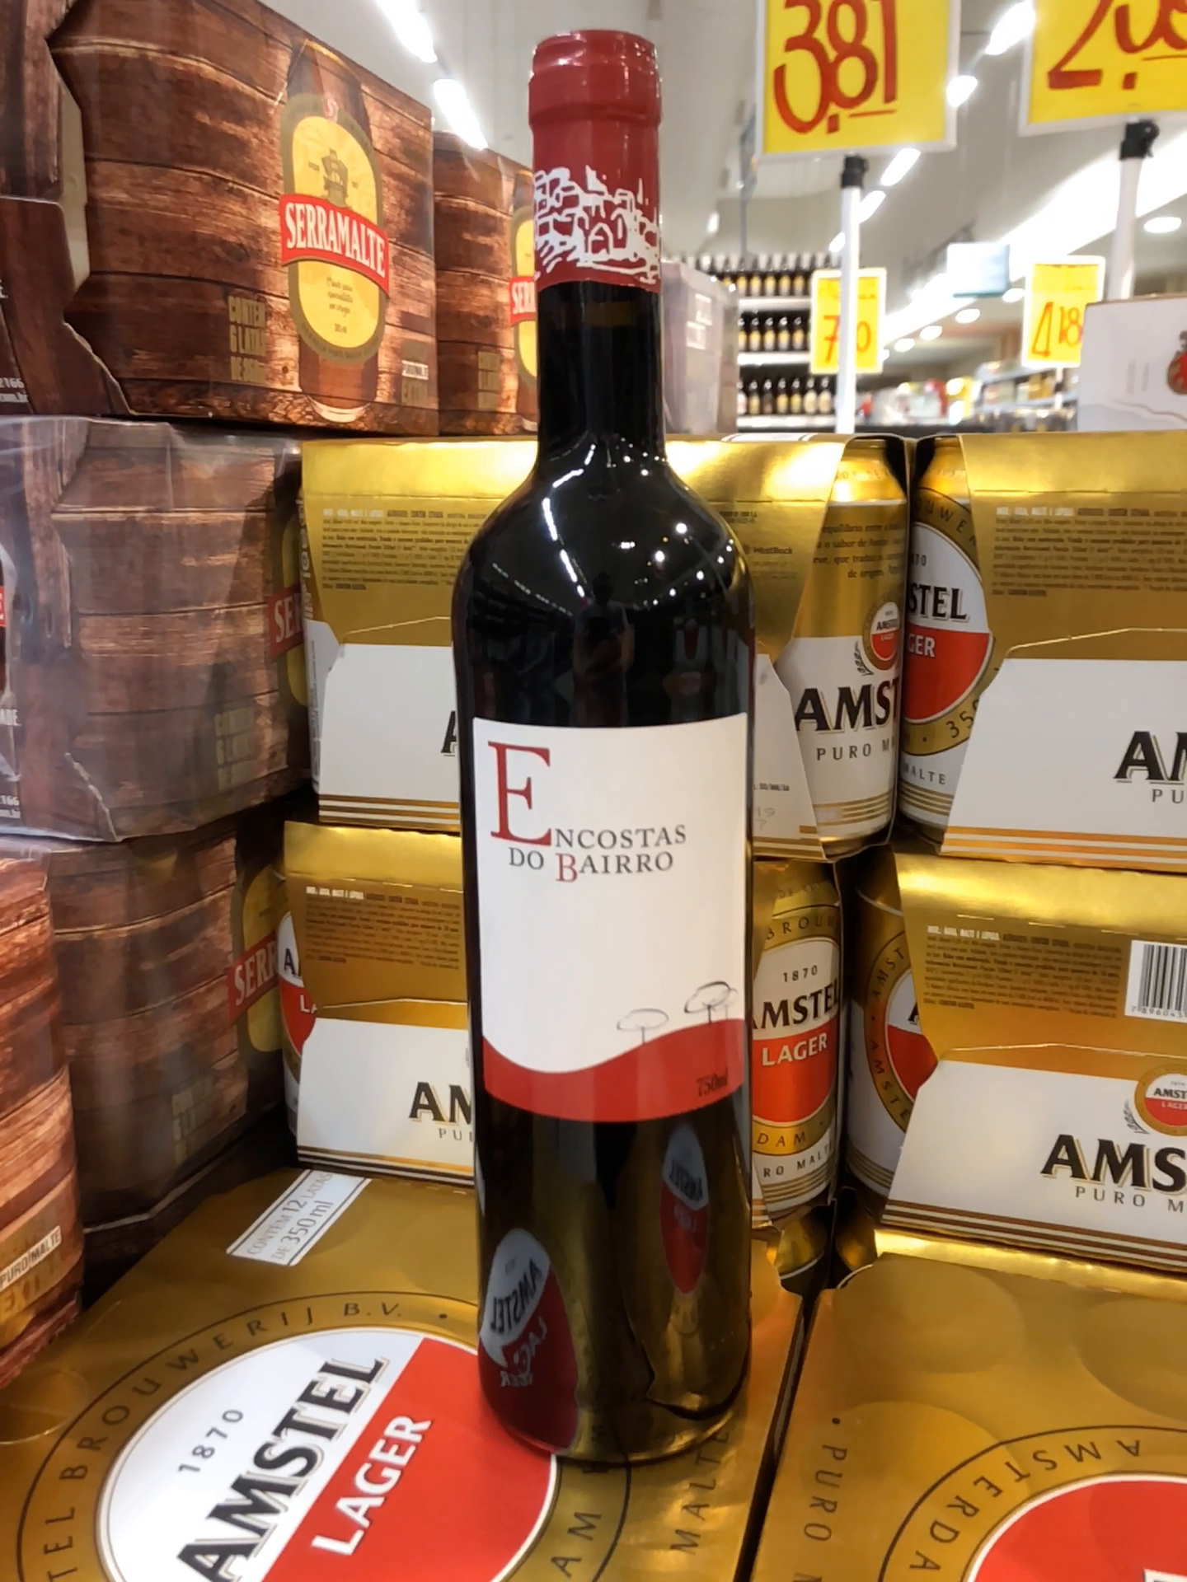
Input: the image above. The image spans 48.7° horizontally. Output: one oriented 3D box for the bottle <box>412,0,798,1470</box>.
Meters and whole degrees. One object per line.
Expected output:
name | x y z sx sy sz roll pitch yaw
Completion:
bottle | 0.003 -0.004 0.307 0.070 0.319 0.070 0 13 0
